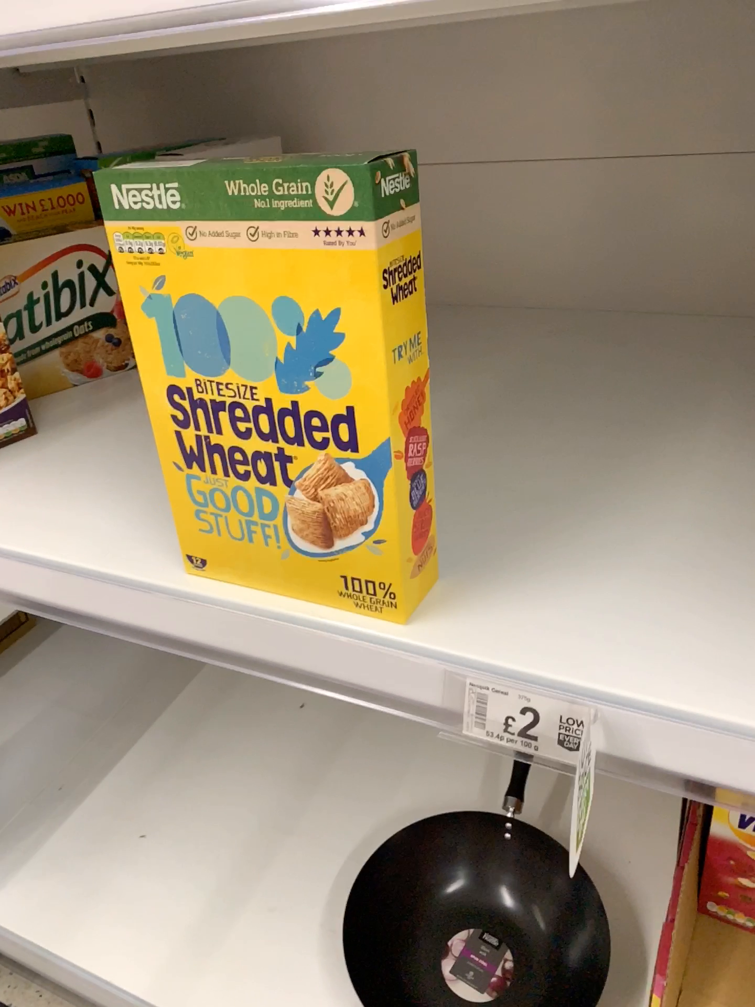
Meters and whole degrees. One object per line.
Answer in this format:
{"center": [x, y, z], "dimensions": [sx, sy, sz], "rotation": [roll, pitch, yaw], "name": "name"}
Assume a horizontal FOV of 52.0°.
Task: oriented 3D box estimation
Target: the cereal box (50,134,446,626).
{"center": [-0.072, -0.077, 0.500], "dimensions": [0.210, 0.278, 0.070], "rotation": [10, 31, 26], "name": "cereal box"}
